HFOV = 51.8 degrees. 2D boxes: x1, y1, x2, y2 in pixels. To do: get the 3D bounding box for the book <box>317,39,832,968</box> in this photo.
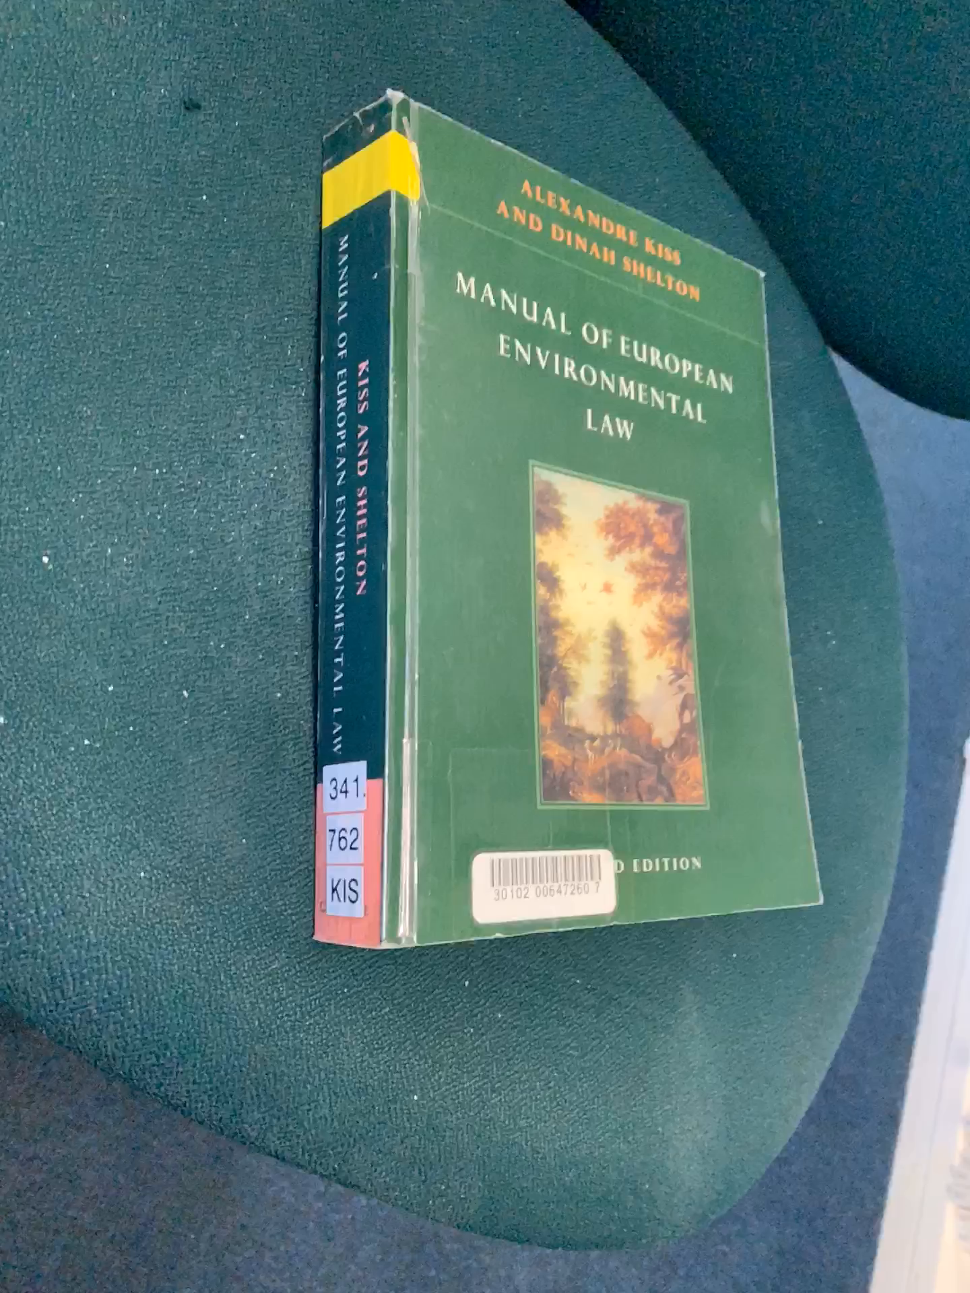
[{"bbox_3d":[0.036,-0.037,0.330,0.181,0.040,0.250,6,78,-38],"label":"book"}]
